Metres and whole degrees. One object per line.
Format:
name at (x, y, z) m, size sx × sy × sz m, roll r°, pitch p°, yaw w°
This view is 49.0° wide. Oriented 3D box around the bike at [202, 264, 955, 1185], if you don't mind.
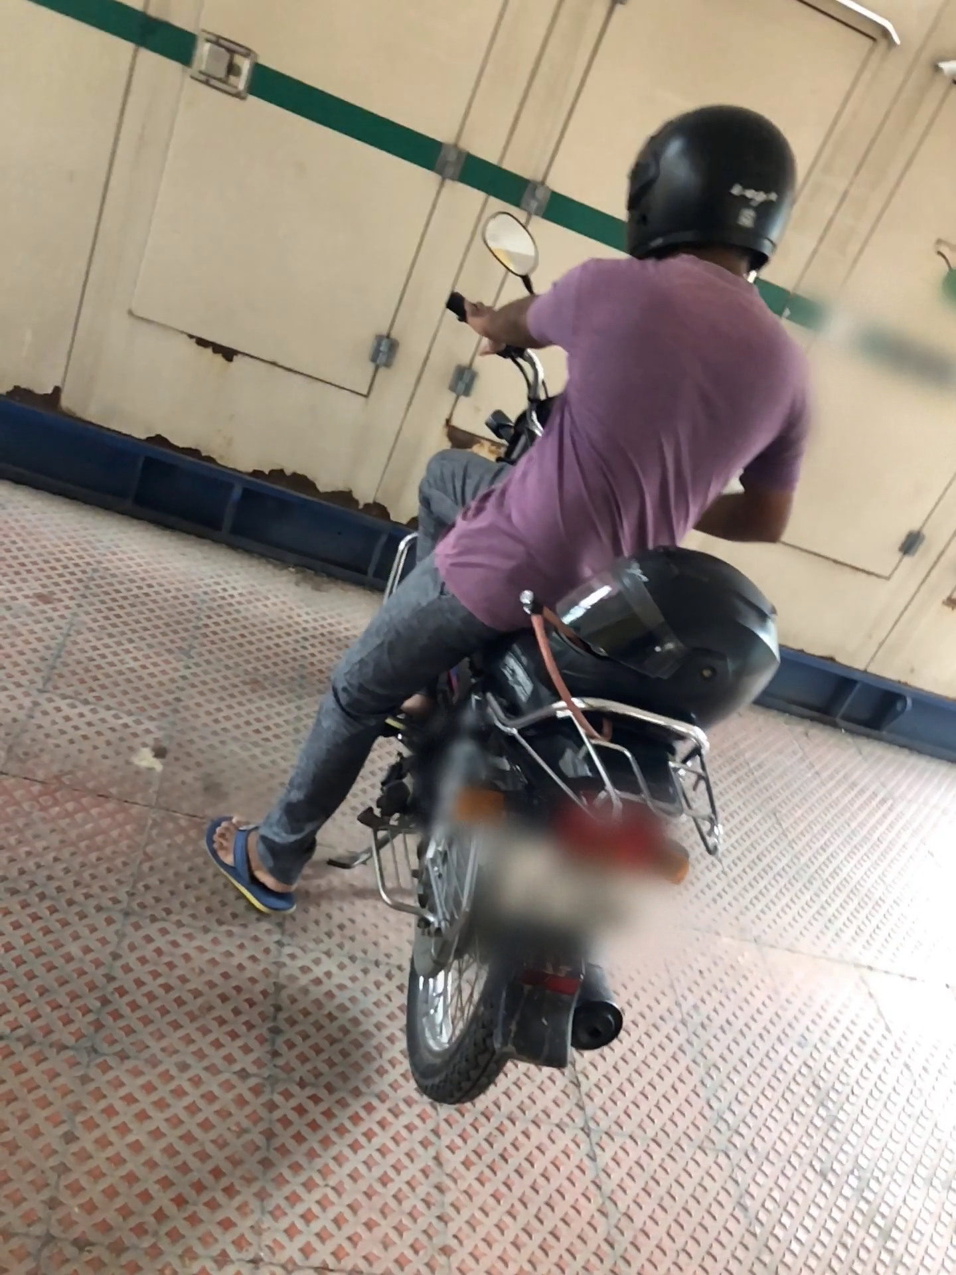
bike at (0.222, 0.005, 2.114) m, size 0.814 × 0.927 × 1.603 m, roll 21°, pitch 29°, yaw -8°
